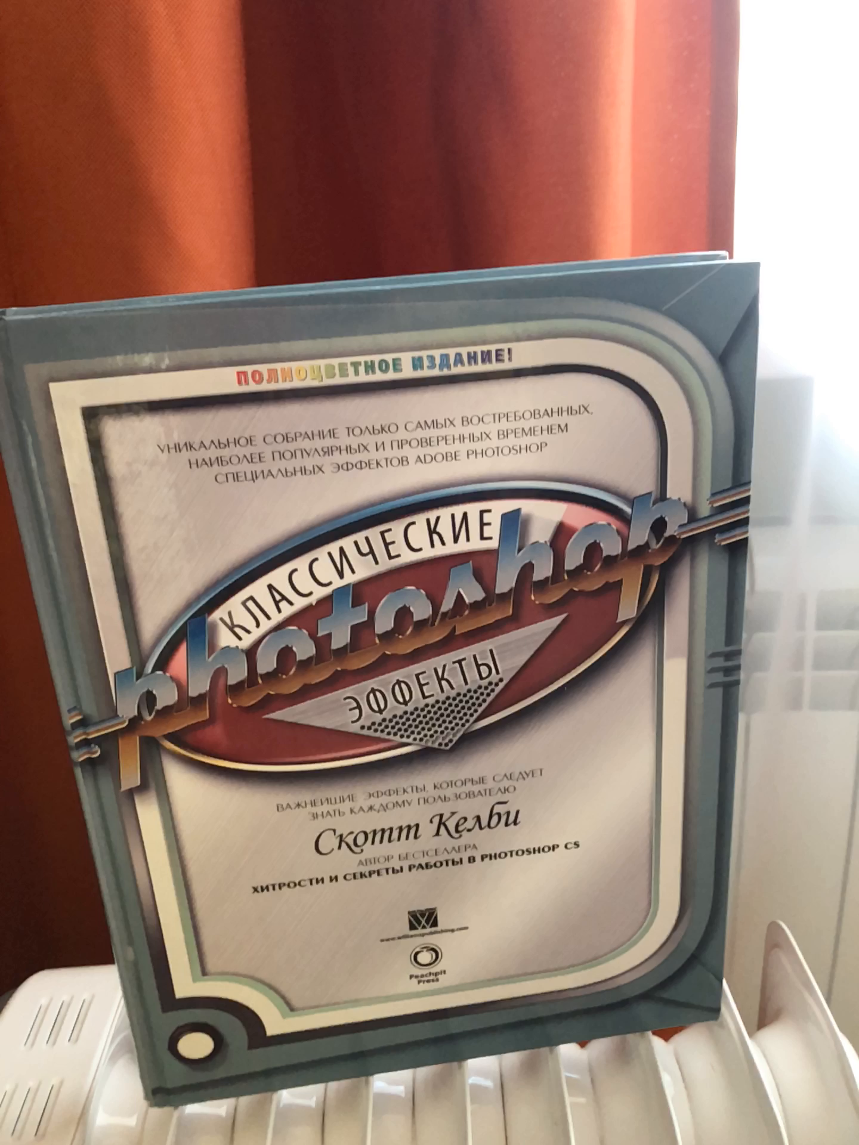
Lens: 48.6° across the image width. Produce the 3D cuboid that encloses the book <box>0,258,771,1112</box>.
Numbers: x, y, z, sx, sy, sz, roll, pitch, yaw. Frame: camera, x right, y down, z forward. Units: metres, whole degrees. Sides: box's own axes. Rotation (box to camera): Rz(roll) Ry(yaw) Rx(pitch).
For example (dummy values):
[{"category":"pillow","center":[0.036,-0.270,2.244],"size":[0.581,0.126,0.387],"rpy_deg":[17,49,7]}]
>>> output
[{"category":"book","center":[-0.009,0.047,0.324],"size":[0.225,0.276,0.040],"rpy_deg":[-6,21,-6]}]
